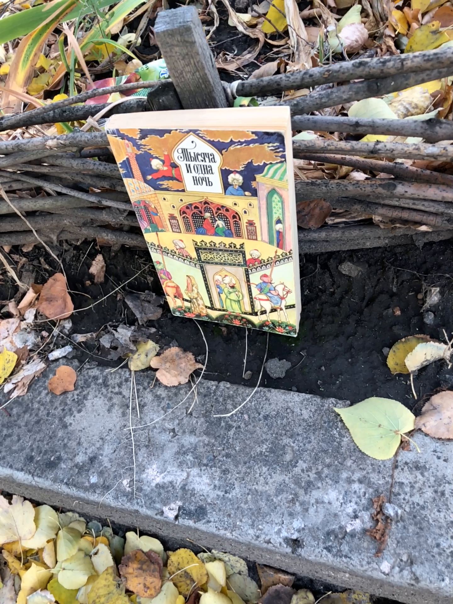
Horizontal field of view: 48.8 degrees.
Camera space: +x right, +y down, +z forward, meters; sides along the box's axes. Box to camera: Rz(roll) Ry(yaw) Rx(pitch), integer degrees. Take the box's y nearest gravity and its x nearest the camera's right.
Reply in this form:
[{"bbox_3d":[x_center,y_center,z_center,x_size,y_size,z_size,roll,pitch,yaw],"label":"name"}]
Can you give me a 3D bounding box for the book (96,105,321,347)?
[{"bbox_3d":[-0.002,-0.046,0.357,0.123,0.182,0.029,10,51,23],"label":"book"}]
